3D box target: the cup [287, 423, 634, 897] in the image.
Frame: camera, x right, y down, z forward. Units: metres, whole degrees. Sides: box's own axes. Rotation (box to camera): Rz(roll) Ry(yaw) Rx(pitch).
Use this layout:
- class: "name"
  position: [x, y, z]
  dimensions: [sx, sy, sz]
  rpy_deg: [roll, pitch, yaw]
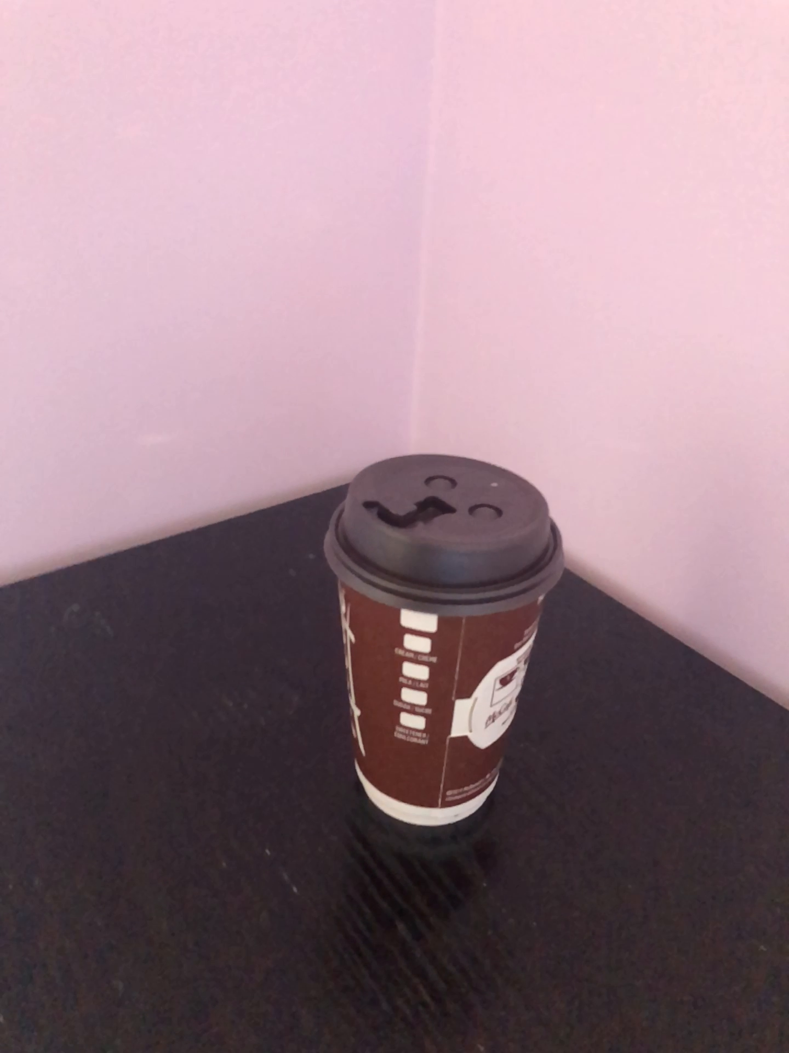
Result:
- class: "cup"
  position: [0.022, 0.048, 0.352]
  dimensions: [0.090, 0.139, 0.090]
  rpy_deg: [2, 30, -1]
